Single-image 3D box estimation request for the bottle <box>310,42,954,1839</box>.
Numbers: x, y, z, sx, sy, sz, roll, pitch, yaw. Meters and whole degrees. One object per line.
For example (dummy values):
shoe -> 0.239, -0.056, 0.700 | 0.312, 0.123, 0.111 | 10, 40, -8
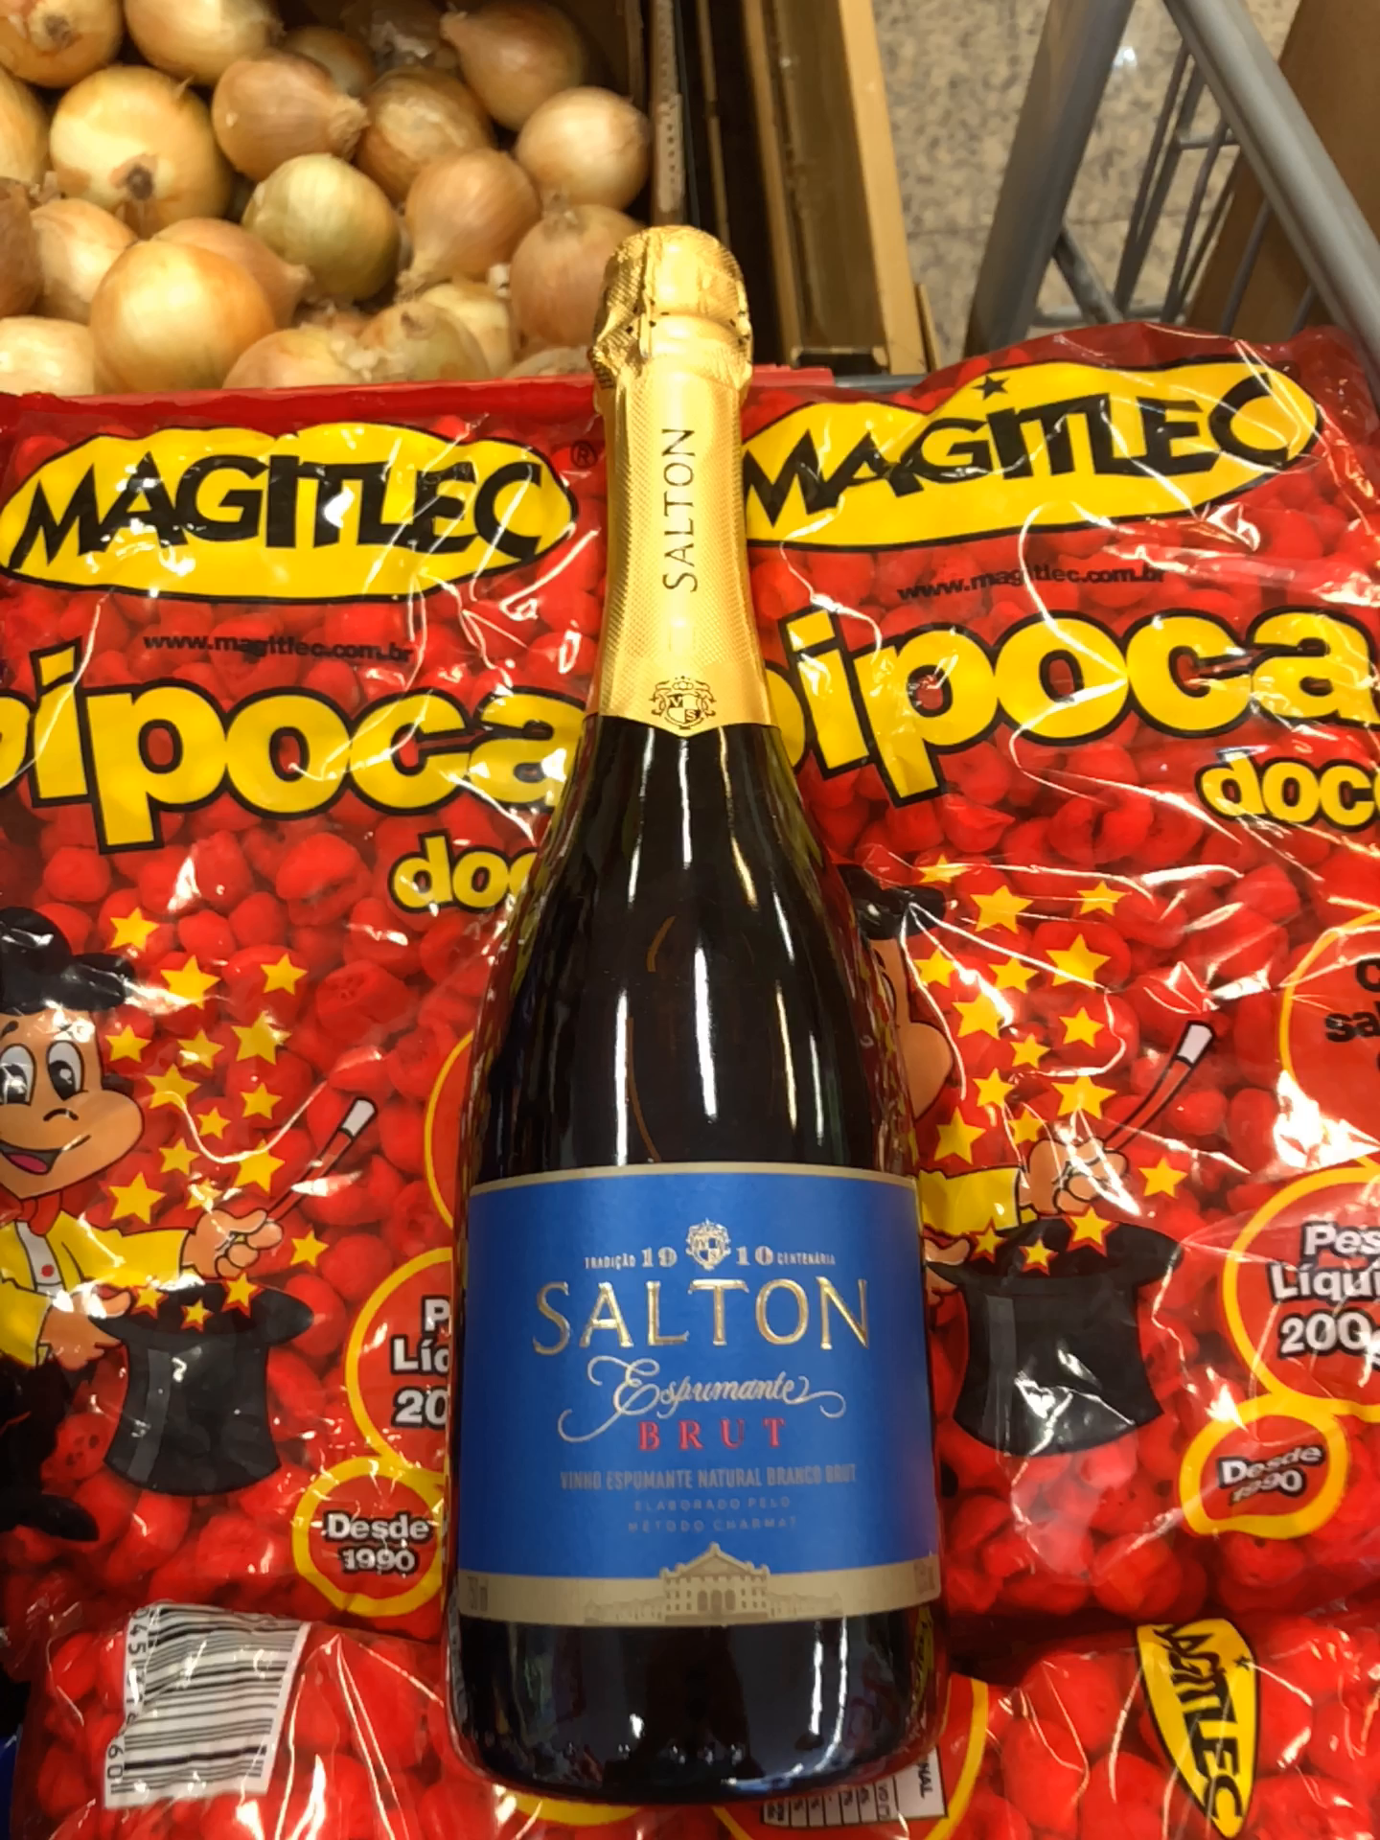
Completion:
bottle -> -0.015, -0.007, 0.292 | 0.090, 0.080, 0.311 | -2, 75, -2
